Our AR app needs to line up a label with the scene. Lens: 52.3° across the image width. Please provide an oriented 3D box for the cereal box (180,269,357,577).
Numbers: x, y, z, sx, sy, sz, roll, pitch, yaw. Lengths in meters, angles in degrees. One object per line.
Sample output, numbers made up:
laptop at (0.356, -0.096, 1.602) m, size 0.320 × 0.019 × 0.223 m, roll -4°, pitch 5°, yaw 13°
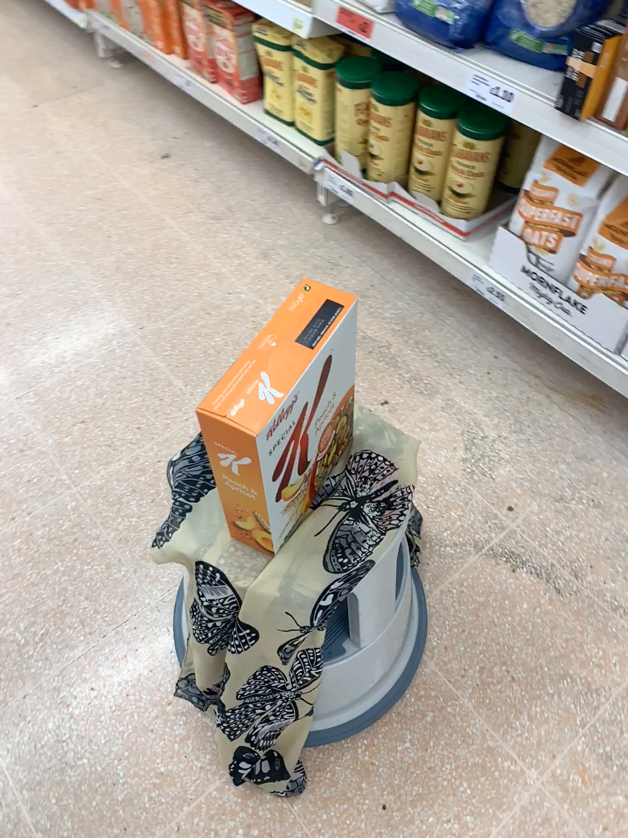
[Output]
cereal box at (-0.036, 0.014, 0.690) m, size 0.060 × 0.268 × 0.211 m, roll 24°, pitch 56°, yaw 17°
